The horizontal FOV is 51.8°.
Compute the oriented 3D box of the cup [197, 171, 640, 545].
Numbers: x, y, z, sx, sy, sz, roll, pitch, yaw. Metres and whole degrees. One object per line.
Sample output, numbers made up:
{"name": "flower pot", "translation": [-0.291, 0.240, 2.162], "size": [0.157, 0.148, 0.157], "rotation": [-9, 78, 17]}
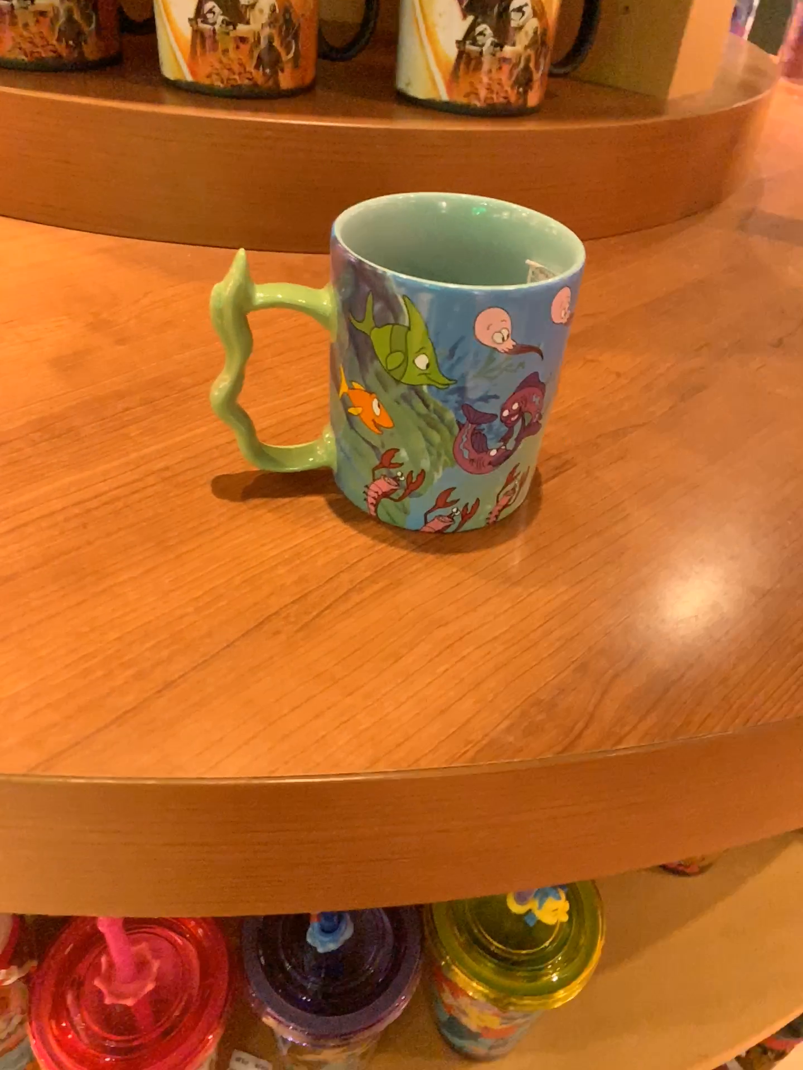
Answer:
{"name": "cup", "translation": [0.001, -0.067, 0.316], "size": [0.134, 0.101, 0.091], "rotation": [2, 40, -5]}
